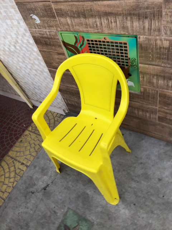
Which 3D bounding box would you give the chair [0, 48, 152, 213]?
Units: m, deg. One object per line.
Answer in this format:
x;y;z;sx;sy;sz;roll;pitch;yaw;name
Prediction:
-0.005;0.096;1.203;0.642;0.745;0.542;20;61;31;chair
